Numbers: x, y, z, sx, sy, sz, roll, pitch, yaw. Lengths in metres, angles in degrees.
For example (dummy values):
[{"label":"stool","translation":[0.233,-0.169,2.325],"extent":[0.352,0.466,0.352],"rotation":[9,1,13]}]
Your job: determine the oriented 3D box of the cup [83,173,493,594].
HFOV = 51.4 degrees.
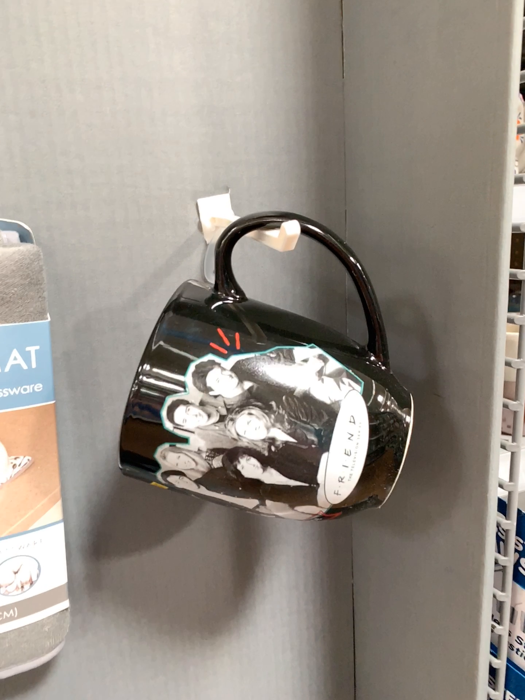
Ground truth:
[{"label":"cup","translation":[0.007,0.007,0.235],"extent":[0.115,0.128,0.087],"rotation":[16,15,2]}]
